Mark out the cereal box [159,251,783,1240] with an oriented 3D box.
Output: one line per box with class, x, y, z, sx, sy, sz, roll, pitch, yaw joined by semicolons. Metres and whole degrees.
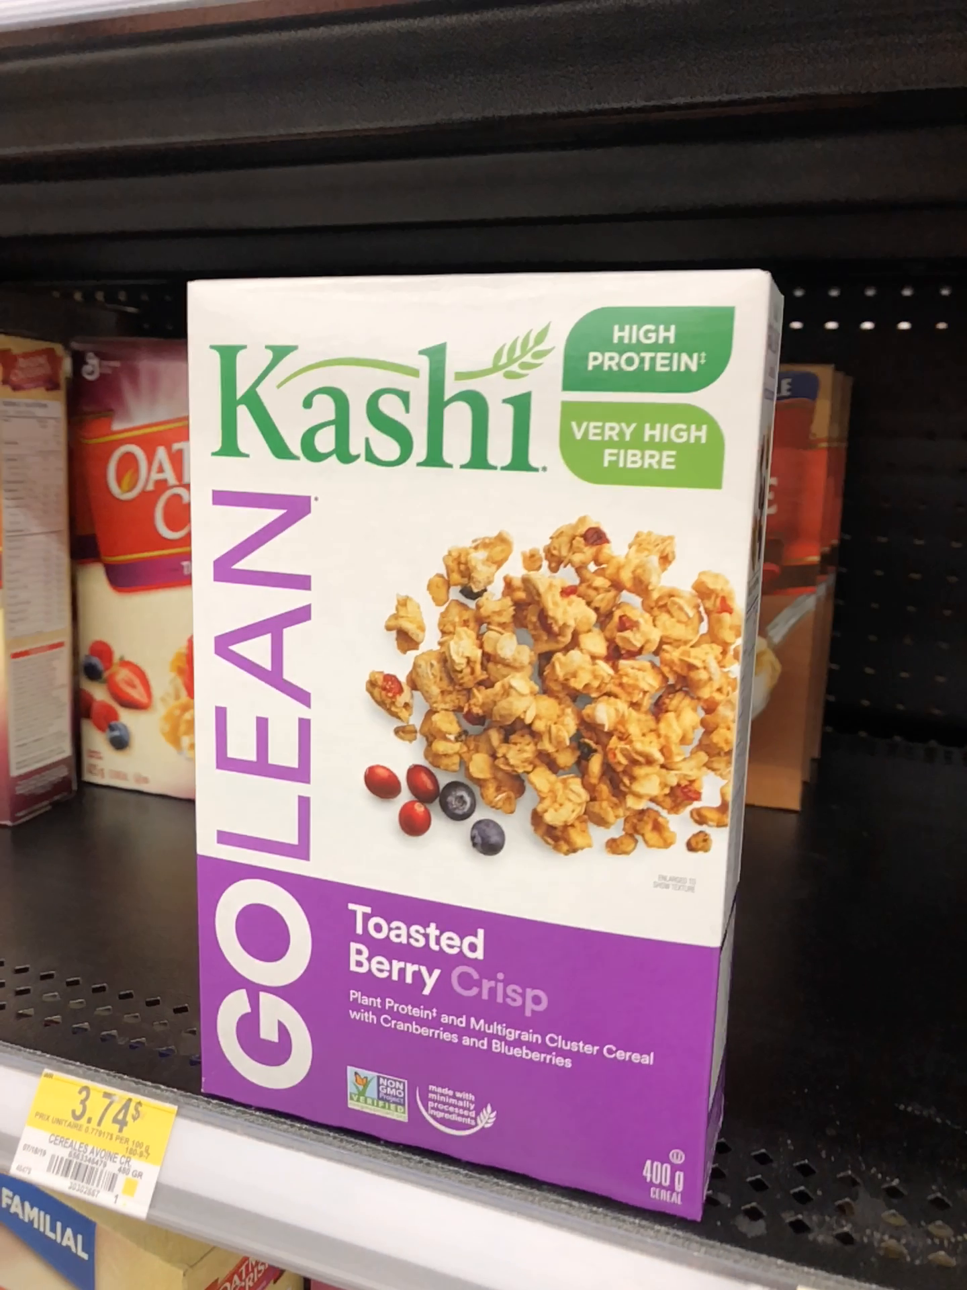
cereal box;-0.008;0.026;0.330;0.170;0.269;0.050;5;12;18
